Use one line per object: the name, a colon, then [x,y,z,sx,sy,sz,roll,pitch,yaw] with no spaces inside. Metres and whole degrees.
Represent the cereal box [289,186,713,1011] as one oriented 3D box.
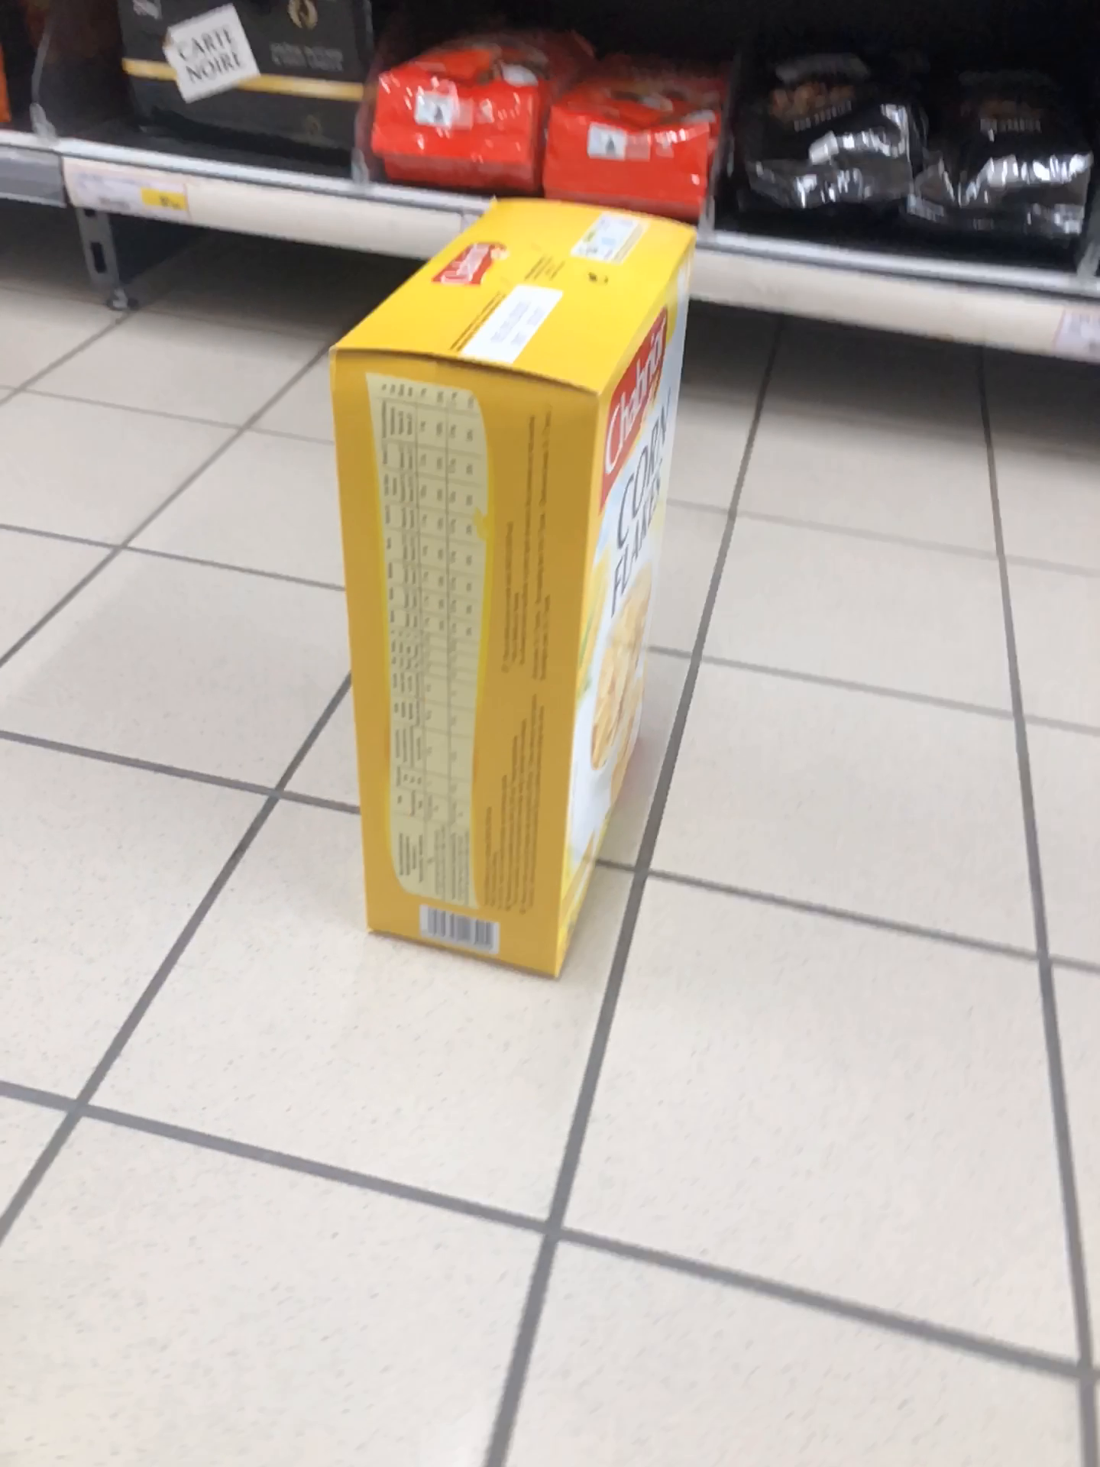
cereal box: [-0.016,-0.062,0.570,0.110,0.308,0.212,12,39,10]
